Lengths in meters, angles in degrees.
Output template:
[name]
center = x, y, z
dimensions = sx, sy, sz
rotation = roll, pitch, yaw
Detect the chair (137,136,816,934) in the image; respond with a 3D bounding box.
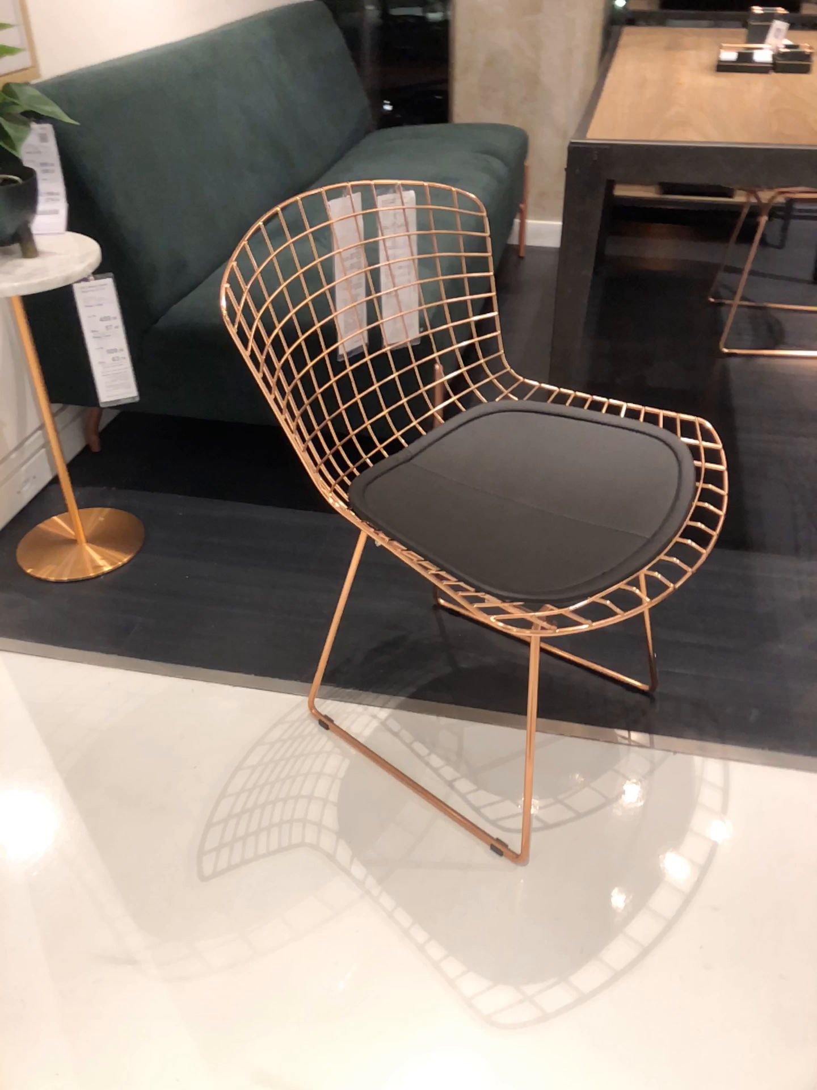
[chair]
center = 0.100, -0.053, 1.166
dimensions = 0.541, 0.744, 0.523
rotation = 22, 41, 29
